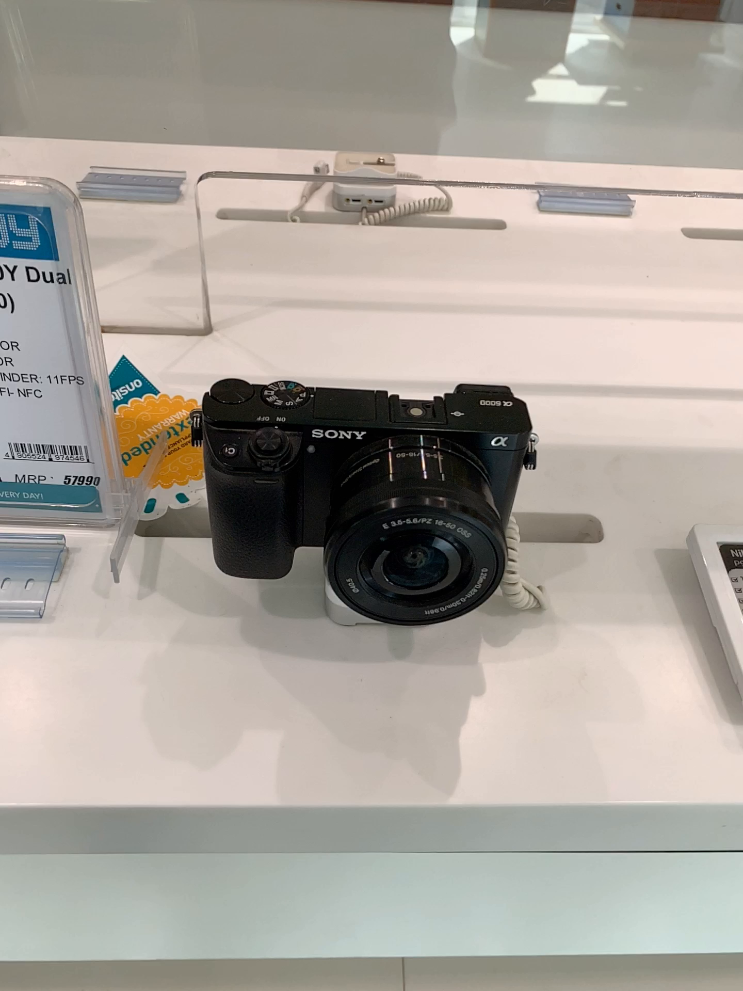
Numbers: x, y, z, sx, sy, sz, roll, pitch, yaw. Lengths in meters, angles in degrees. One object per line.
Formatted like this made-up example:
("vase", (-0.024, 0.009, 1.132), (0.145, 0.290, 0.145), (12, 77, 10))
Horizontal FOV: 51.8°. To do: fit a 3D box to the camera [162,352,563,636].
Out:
("camera", (-0.004, 0.000, 0.241), (0.104, 0.063, 0.059), (2, 45, -2))
